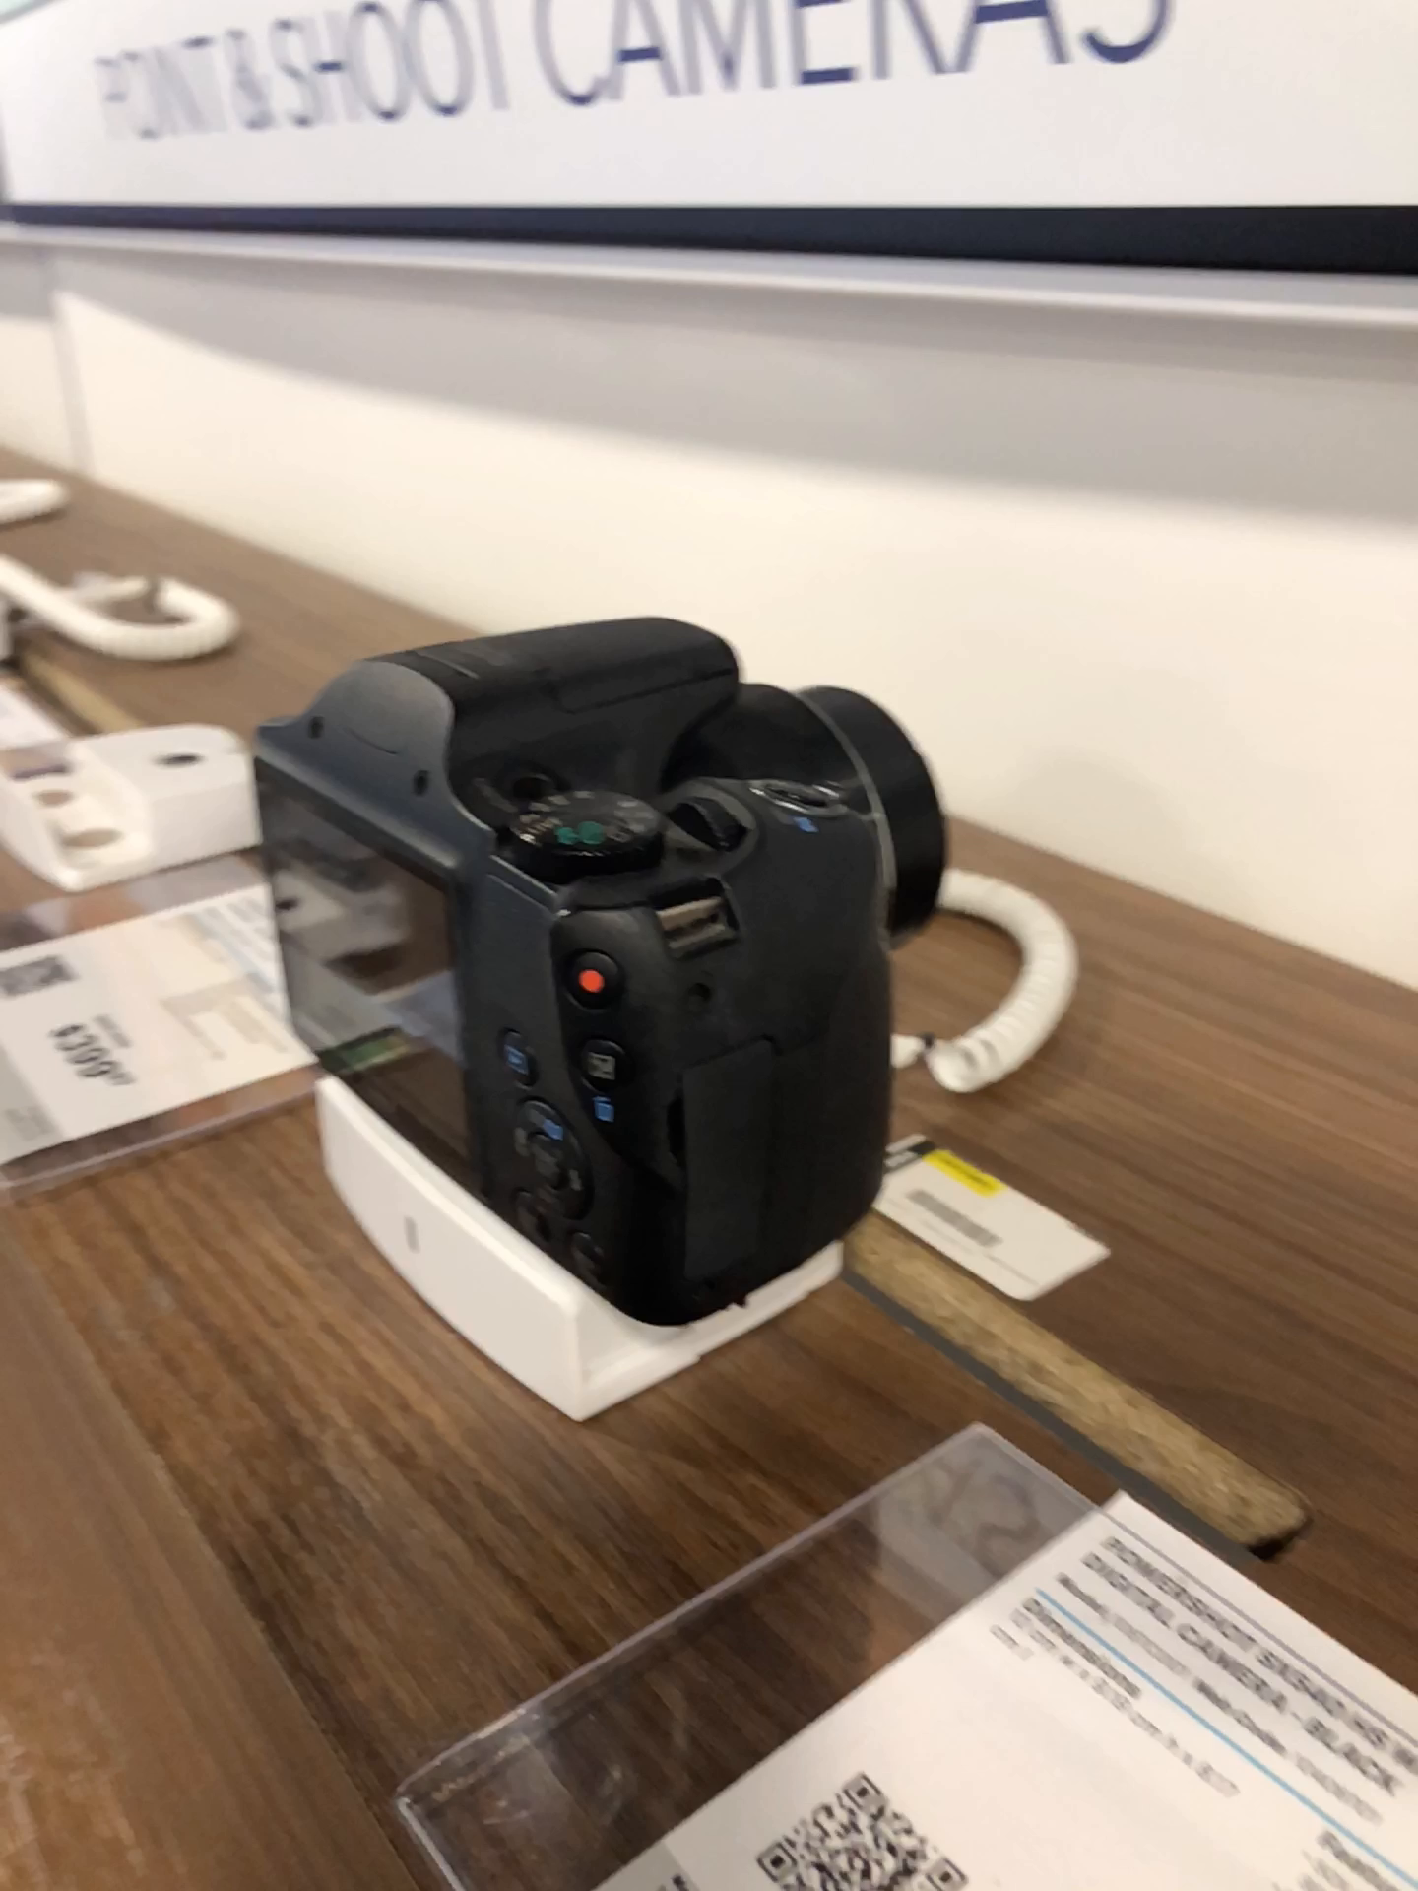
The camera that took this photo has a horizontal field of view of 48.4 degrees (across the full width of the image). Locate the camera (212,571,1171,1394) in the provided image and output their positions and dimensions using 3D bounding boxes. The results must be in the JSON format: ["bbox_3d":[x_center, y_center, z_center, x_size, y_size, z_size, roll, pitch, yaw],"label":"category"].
[{"bbox_3d":[-0.006,-0.008,0.272,0.101,0.080,0.121,-20,31,-37],"label":"camera"}]
